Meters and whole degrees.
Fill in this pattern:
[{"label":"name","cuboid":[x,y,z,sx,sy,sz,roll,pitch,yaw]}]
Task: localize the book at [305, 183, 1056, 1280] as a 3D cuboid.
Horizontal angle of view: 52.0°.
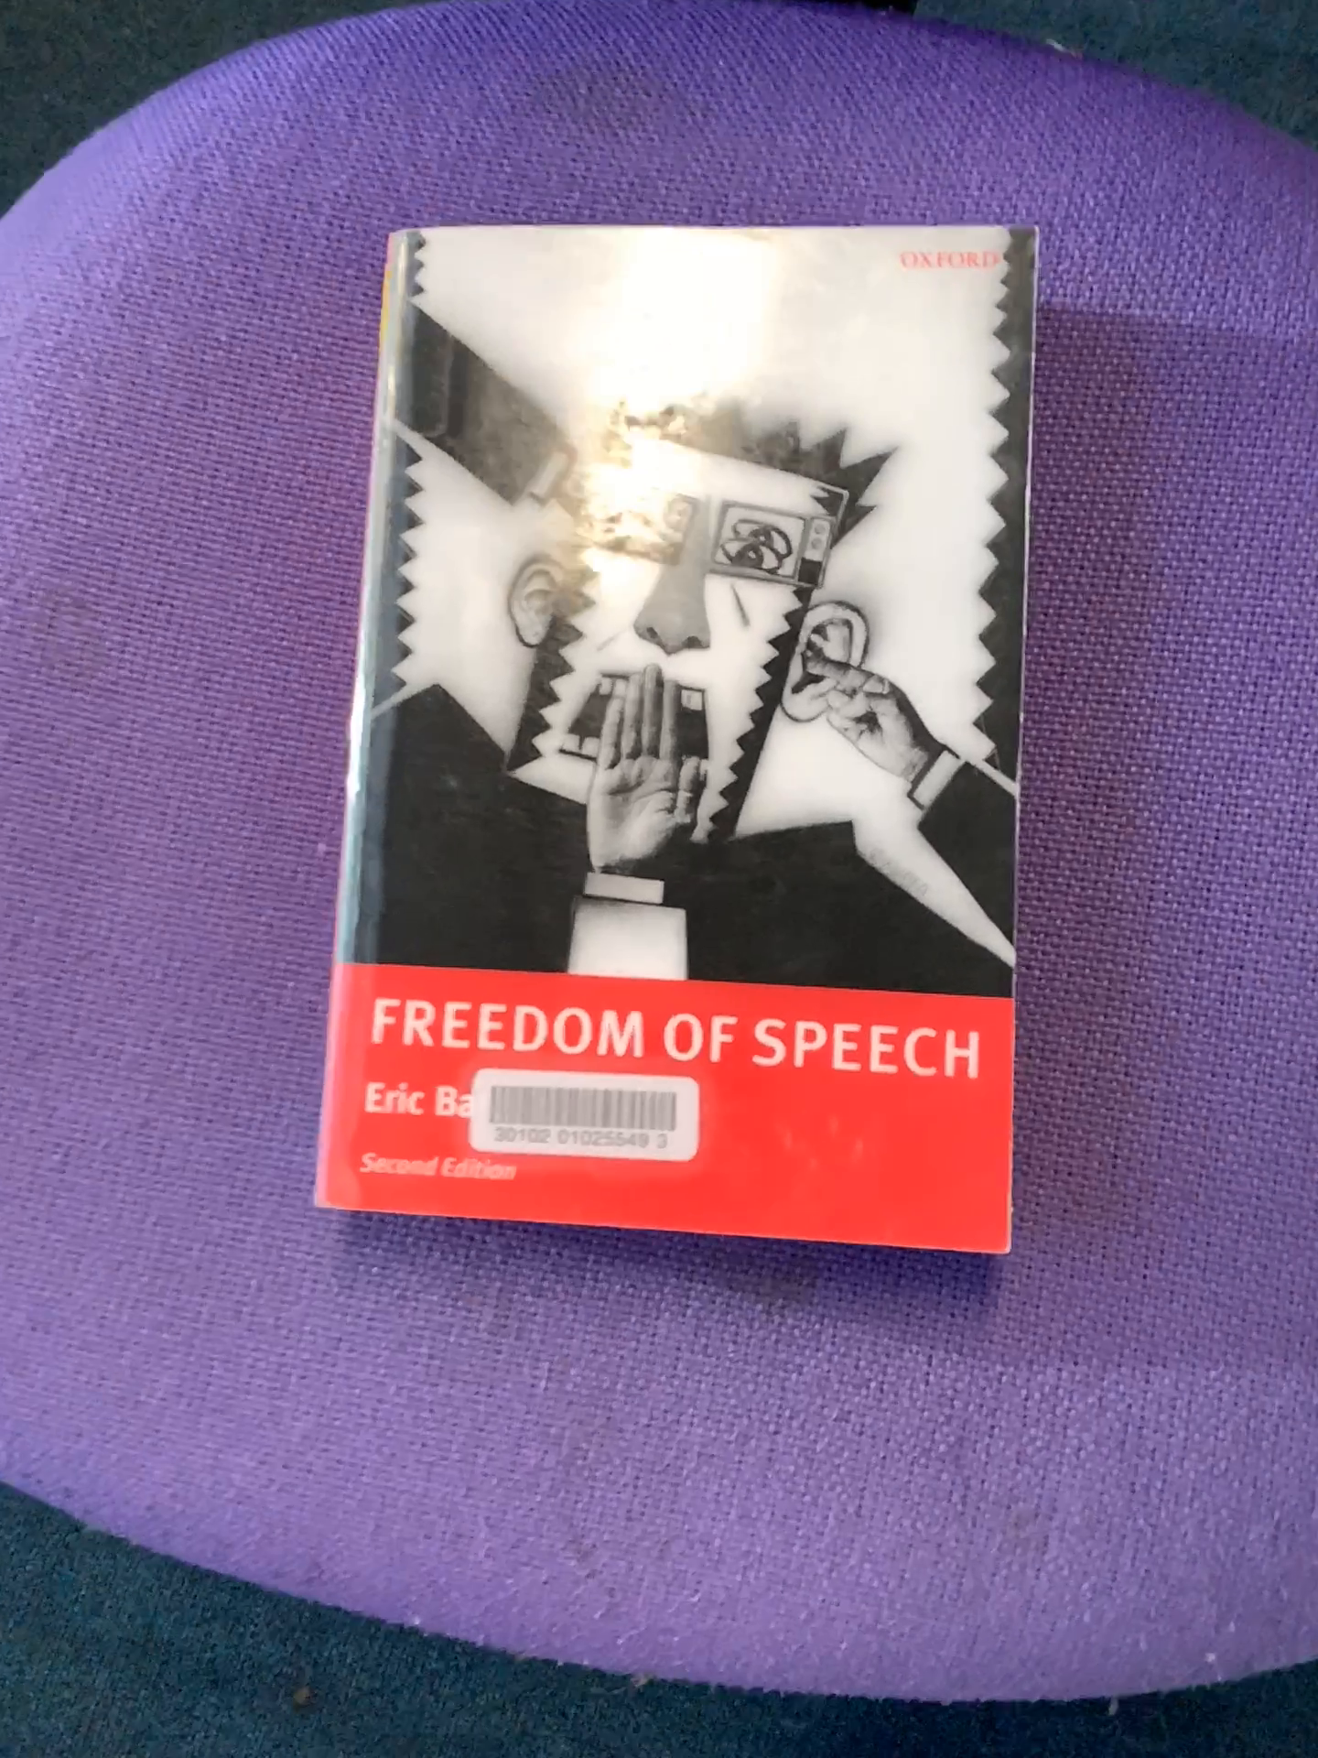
[{"label":"book","cuboid":[0.009,-0.039,0.333,0.160,0.050,0.250,2,83,3]}]
